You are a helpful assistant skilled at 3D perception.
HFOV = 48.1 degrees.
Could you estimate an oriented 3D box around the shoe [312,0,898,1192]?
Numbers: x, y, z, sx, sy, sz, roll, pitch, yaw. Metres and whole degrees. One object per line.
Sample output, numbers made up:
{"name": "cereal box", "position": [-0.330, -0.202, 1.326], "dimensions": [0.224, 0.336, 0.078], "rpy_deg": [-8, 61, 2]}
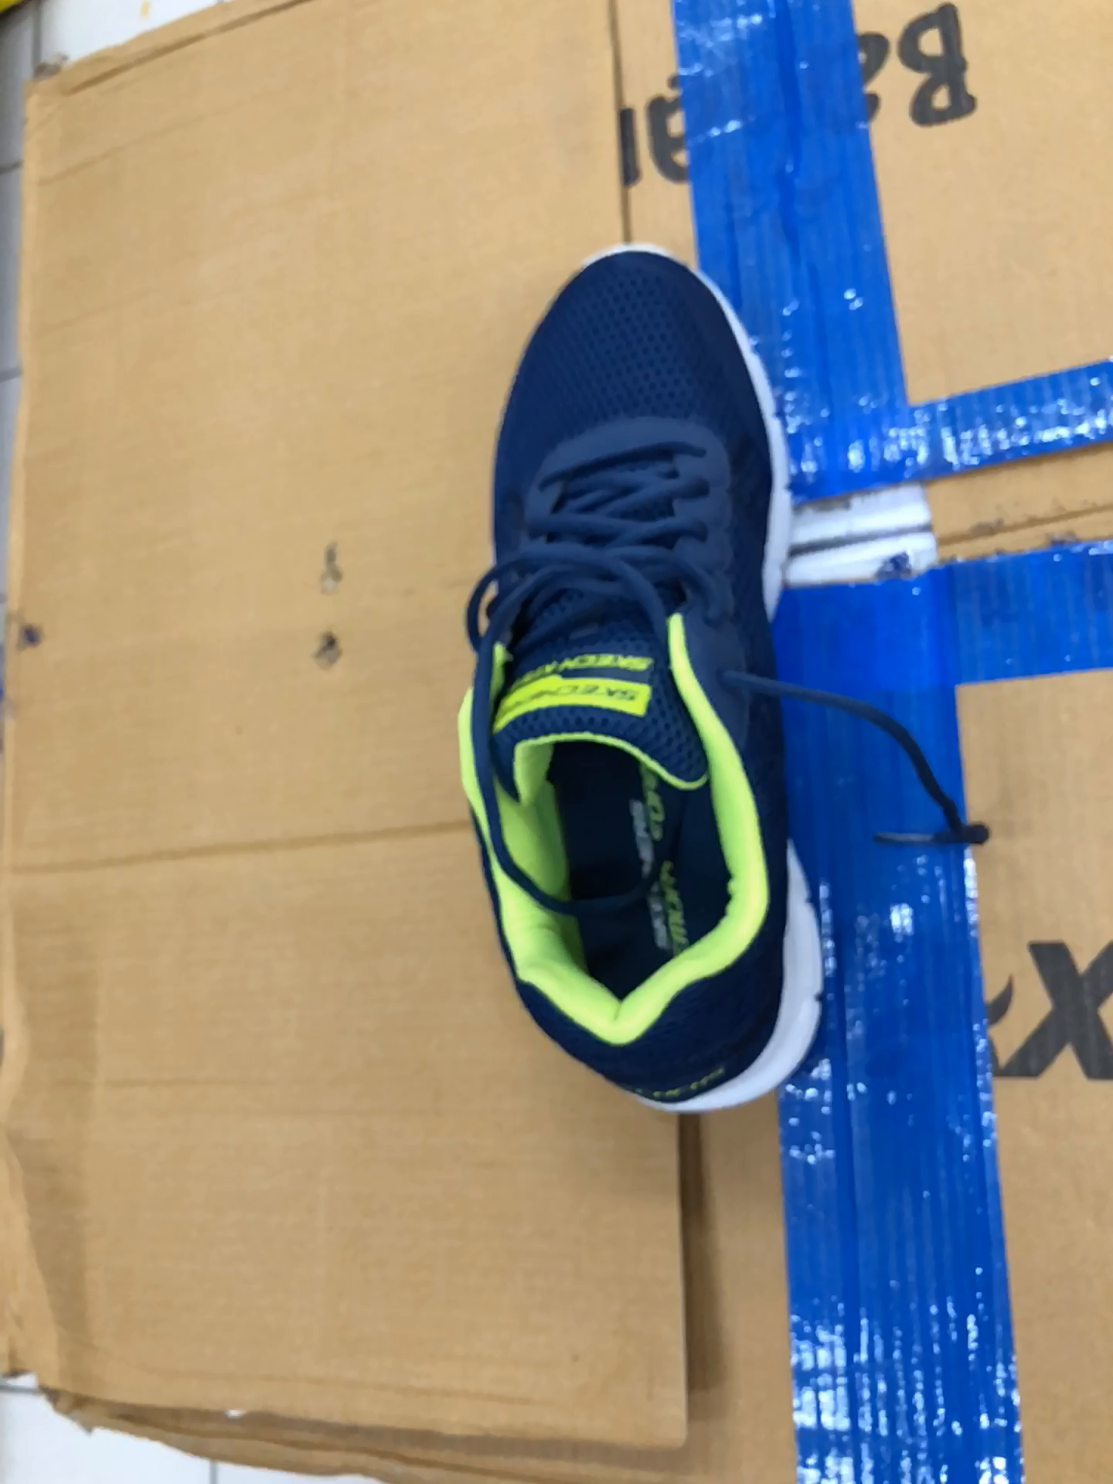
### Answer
{"name": "shoe", "position": [0.018, -0.039, 0.375], "dimensions": [0.106, 0.146, 0.307], "rpy_deg": [-9, 77, 21]}
